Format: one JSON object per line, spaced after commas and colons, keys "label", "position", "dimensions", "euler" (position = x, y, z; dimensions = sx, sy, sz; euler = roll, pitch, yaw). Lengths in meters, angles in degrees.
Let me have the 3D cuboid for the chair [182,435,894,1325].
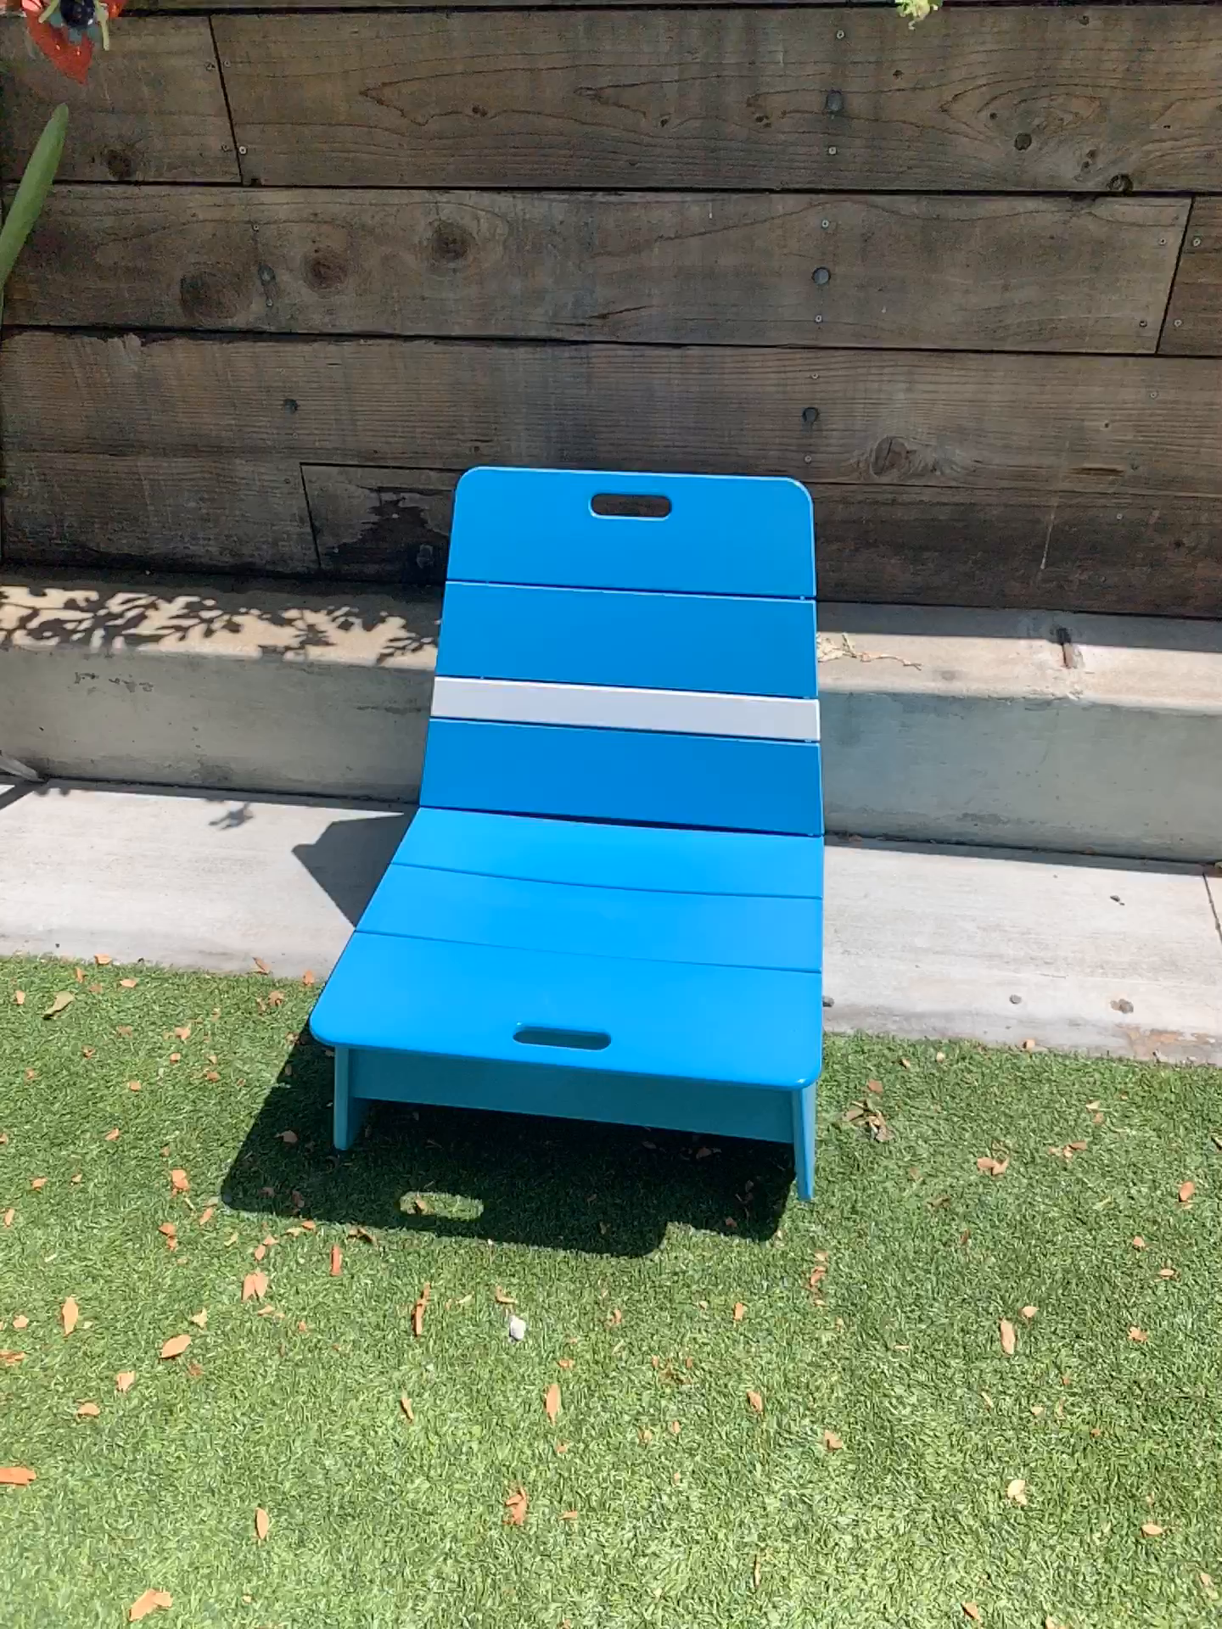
{"label": "chair", "position": [-0.004, 0.061, 1.546], "dimensions": [0.590, 0.746, 0.723], "euler": [6, 43, 9]}
